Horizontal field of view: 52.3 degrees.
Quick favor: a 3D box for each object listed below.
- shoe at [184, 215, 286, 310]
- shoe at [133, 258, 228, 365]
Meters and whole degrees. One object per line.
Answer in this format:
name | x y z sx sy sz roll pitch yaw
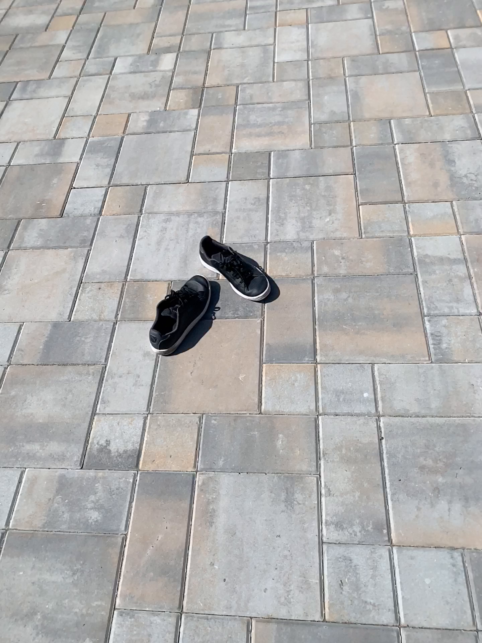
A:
shoe | -0.017 -0.170 1.378 0.110 0.100 0.281 -41 60 -19
shoe | -0.154 -0.031 1.312 0.110 0.110 0.250 23 62 22
